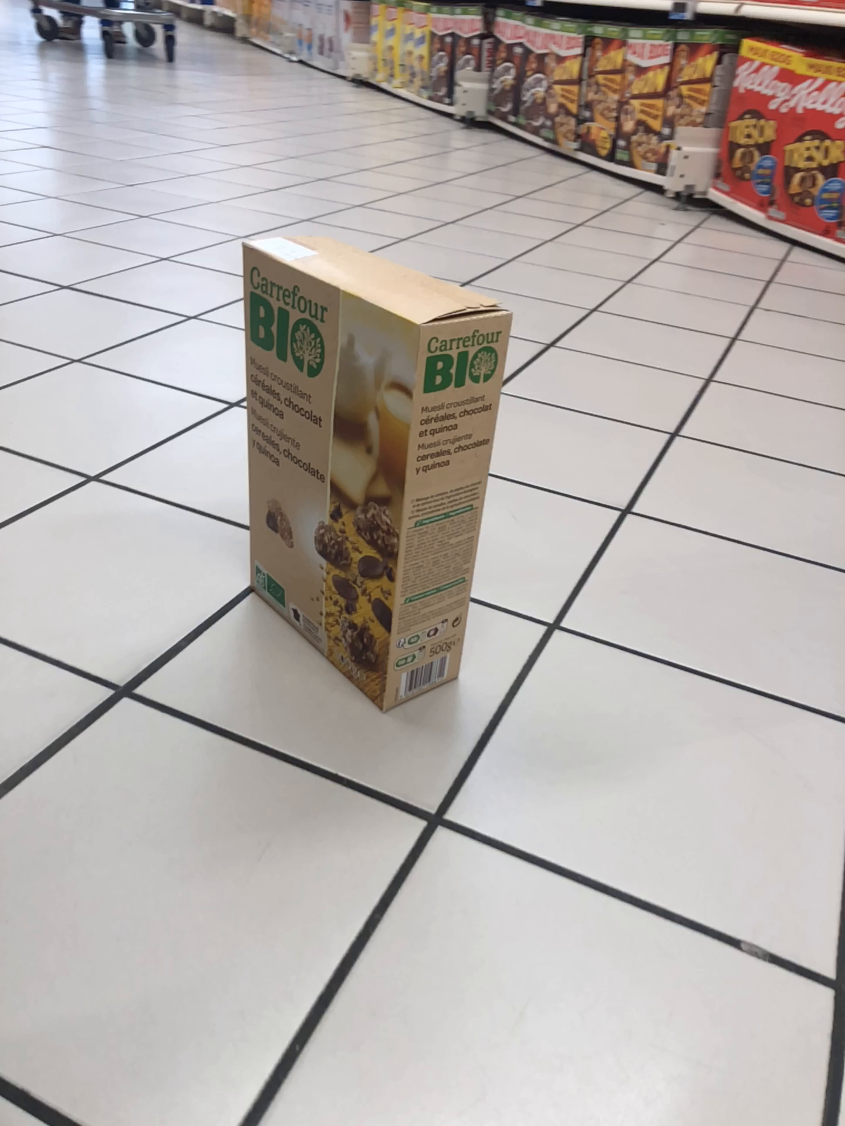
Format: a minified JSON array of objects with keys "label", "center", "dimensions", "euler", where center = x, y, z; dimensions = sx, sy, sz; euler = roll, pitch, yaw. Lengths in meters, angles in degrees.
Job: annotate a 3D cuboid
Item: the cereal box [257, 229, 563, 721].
[{"label":"cereal box","center":[-0.022,-0.057,0.541],"dimensions":[0.070,0.229,0.170],"euler":[-17,37,-35]}]
